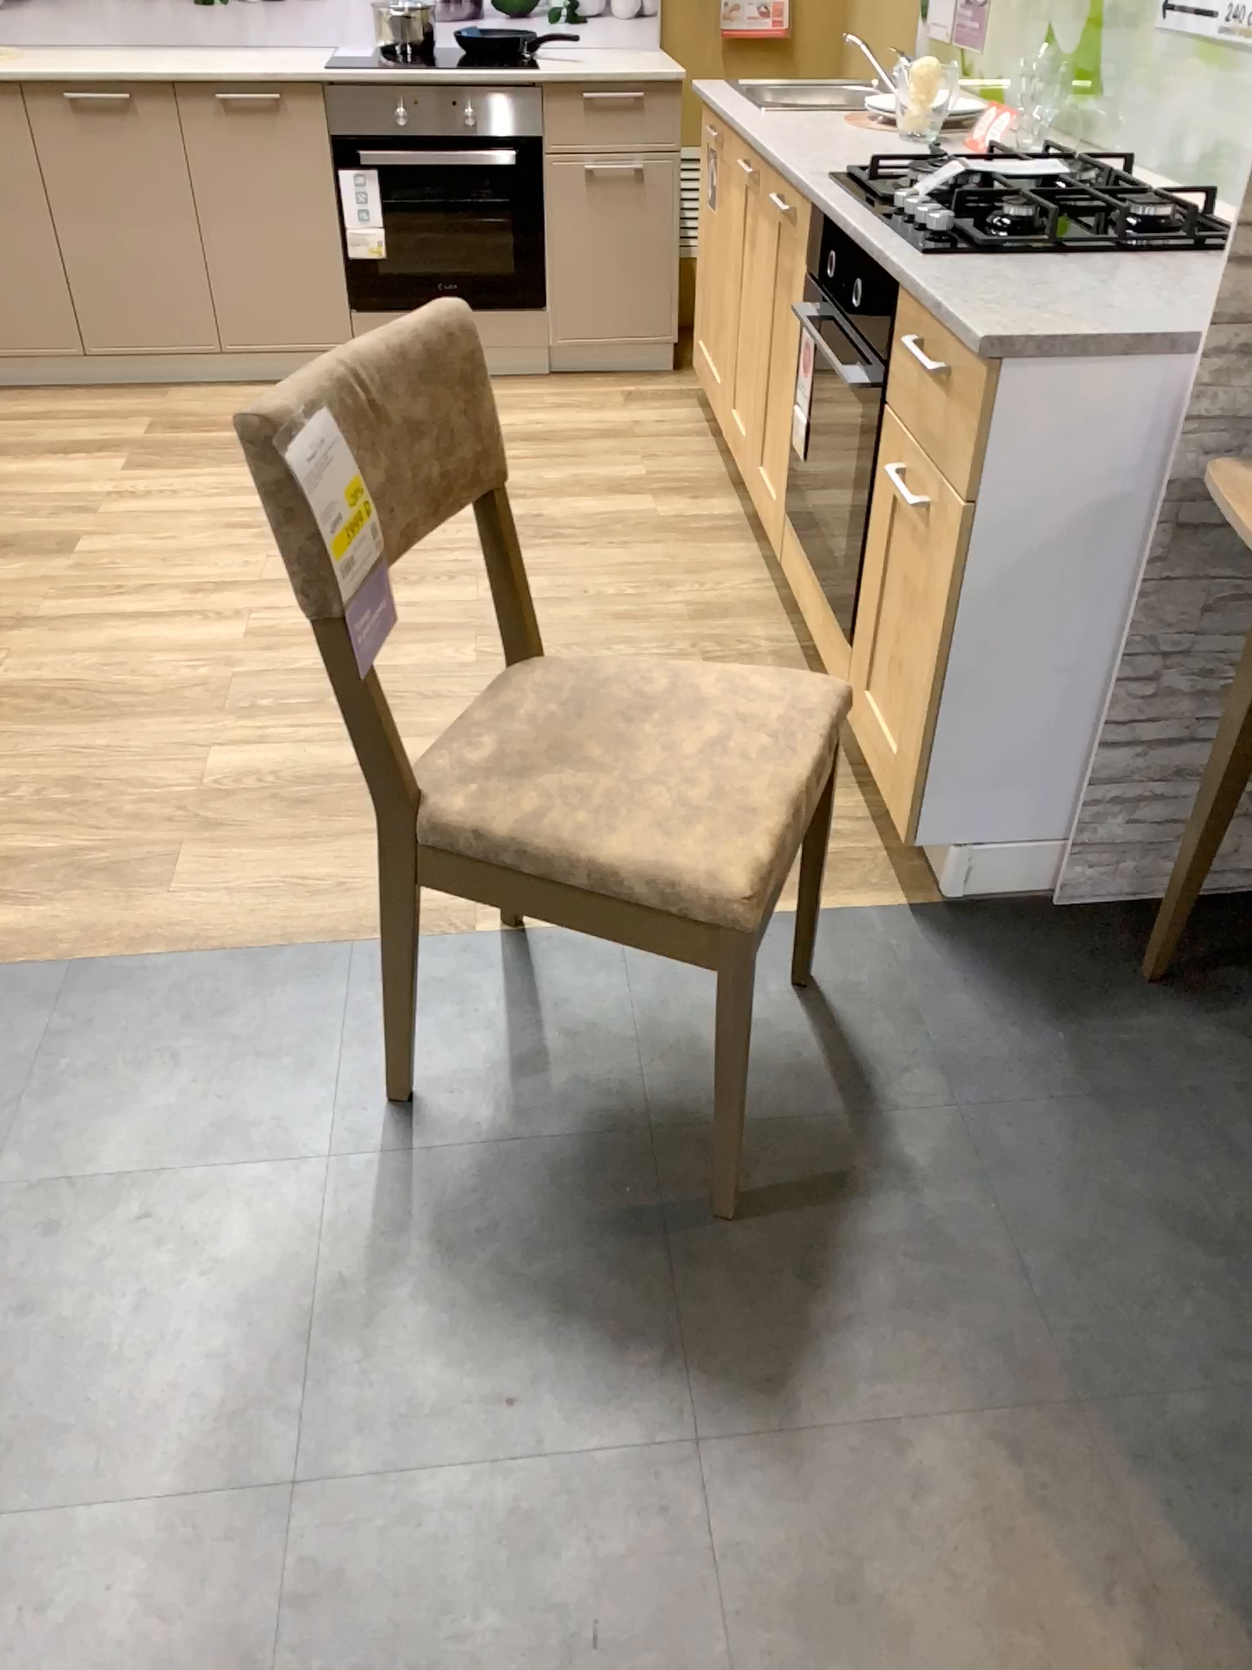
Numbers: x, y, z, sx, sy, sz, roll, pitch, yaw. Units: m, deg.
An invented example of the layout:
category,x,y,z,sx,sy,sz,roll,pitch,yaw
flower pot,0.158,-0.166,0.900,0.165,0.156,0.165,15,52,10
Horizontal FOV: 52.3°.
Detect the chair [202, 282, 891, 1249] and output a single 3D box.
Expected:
category,x,y,z,sx,sy,sz,roll,pitch,yaw
chair,-0.047,-0.074,1.480,0.510,0.925,0.483,12,37,15
